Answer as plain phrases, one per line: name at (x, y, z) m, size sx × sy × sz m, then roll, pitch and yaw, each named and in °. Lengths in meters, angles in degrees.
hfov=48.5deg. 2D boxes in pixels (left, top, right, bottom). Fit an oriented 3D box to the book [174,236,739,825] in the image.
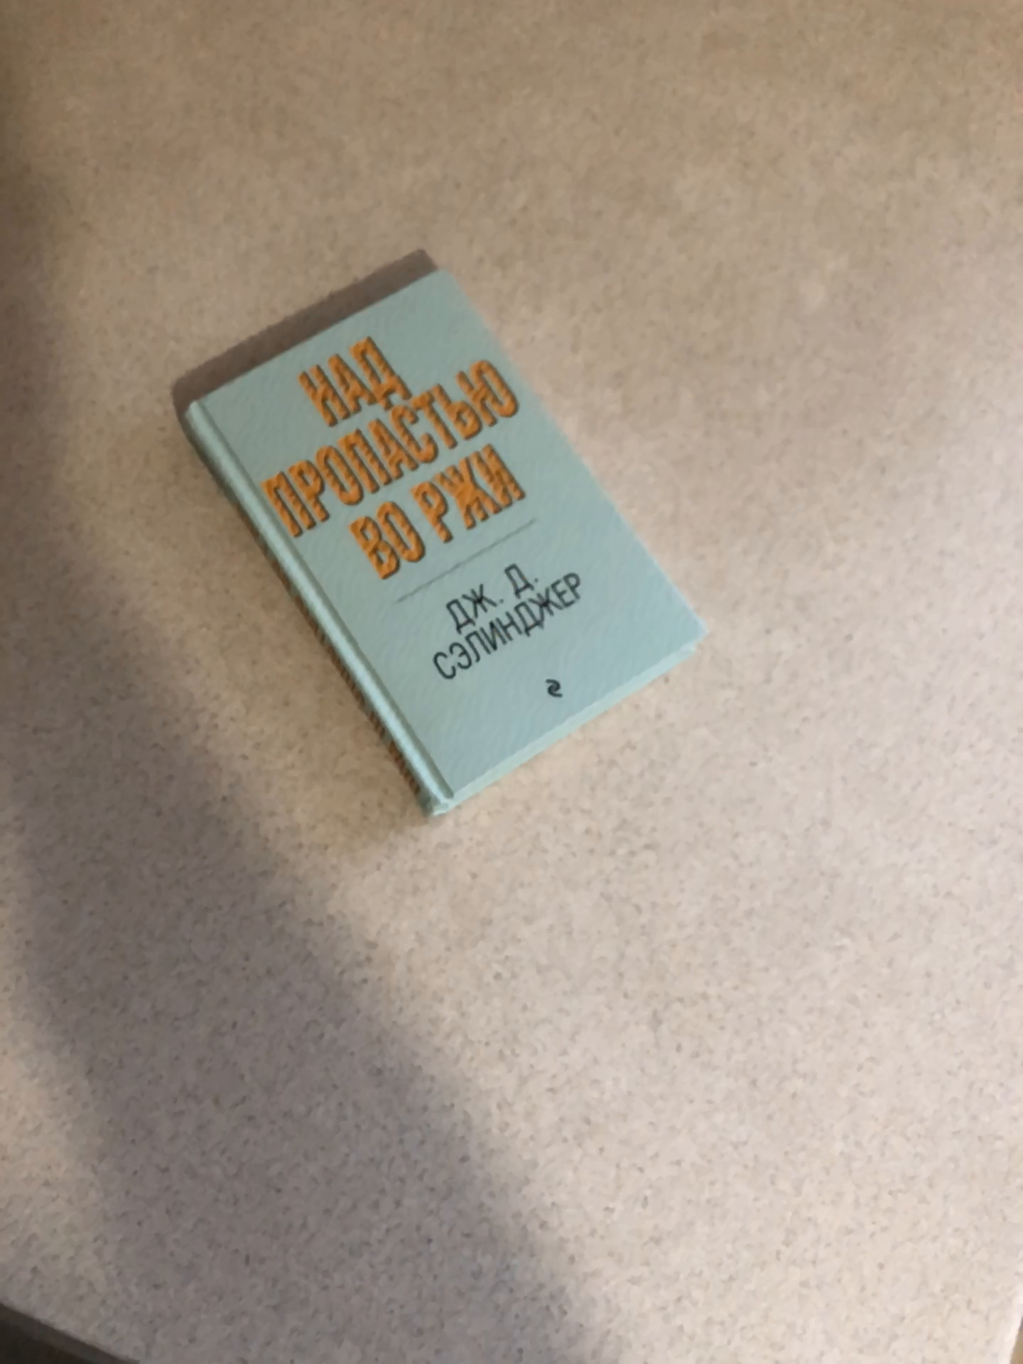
book at (-0.022, -0.058, 0.401) m, size 0.118 × 0.020 × 0.180 m, roll -31°, pitch 77°, yaw -9°
